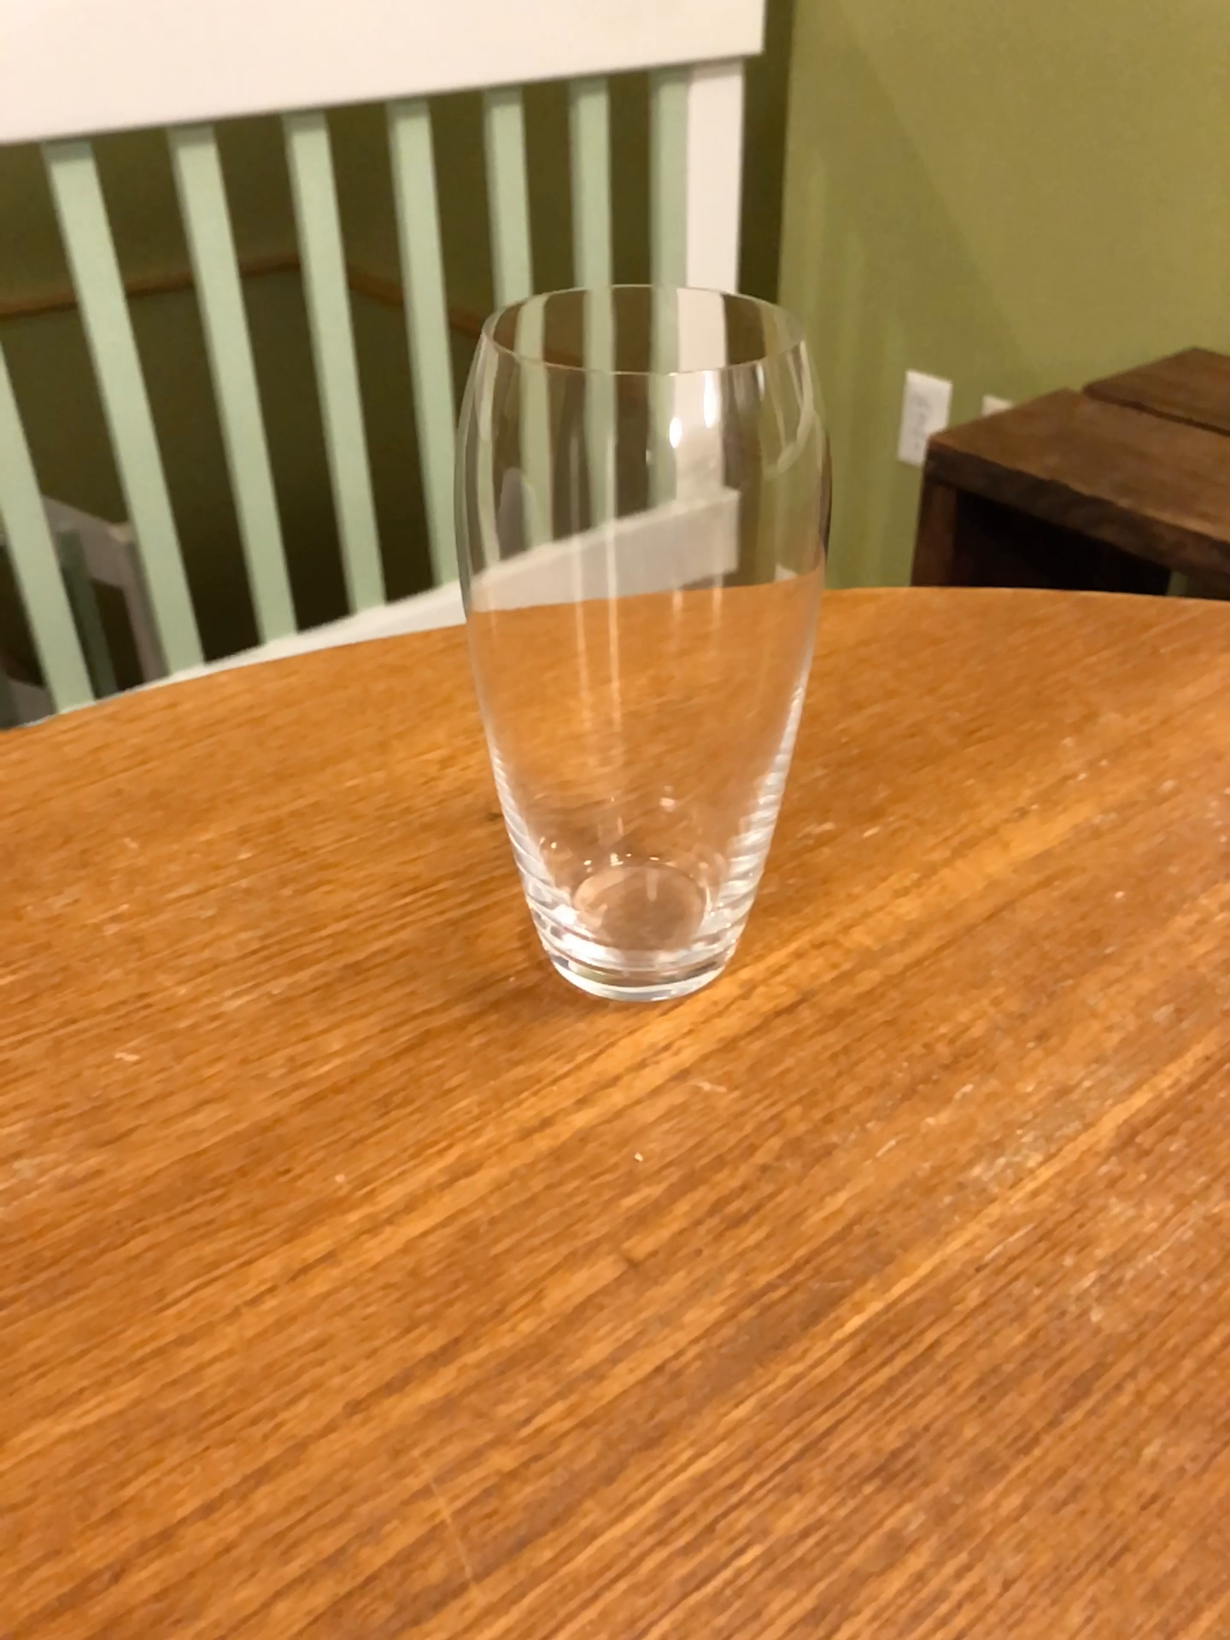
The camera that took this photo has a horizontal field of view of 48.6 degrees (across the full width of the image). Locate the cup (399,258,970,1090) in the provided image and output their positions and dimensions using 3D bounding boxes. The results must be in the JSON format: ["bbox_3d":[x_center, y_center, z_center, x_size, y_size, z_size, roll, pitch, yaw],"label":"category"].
[{"bbox_3d":[0.014,-0.035,0.318,0.081,0.156,0.082,-1,35,0],"label":"cup"}]
